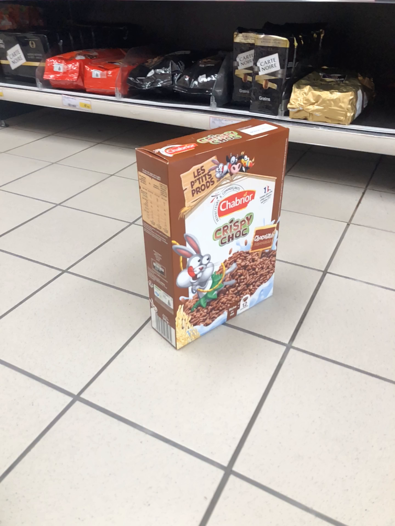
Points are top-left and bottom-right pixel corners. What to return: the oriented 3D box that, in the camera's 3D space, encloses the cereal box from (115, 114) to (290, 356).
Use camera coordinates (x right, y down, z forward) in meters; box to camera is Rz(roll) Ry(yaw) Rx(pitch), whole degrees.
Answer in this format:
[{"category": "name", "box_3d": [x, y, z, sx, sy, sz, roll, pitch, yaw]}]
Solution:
[{"category": "cereal box", "box_3d": [0.014, -0.040, 0.582, 0.211, 0.268, 0.070, -23, 38, -32]}]
